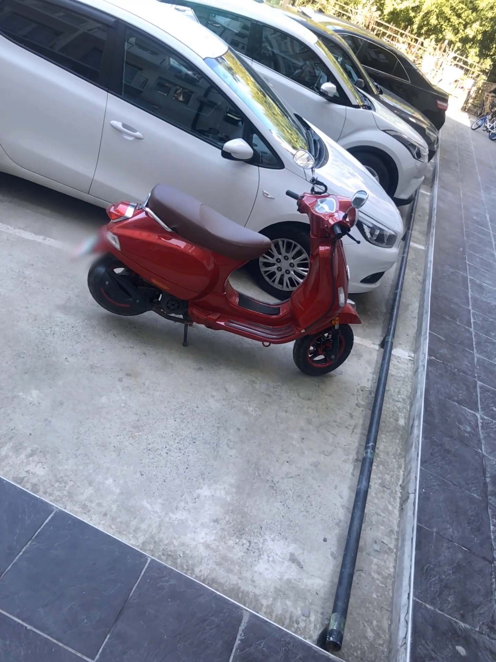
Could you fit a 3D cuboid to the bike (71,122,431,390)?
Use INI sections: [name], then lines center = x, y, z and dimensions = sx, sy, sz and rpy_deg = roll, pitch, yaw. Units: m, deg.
[bike]
center = -0.009, -0.367, 2.994
dimensions = 1.594, 0.950, 0.537
rpy_deg = 15, 34, -12
